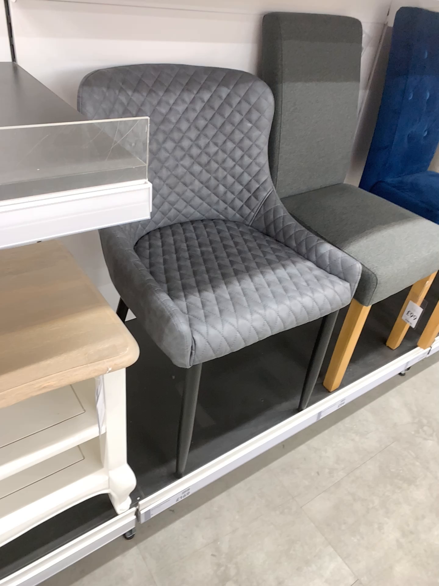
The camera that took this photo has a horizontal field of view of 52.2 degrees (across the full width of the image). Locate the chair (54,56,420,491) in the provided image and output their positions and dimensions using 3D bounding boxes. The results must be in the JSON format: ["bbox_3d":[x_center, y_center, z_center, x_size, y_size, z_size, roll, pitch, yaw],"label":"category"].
[{"bbox_3d":[-0.029,-0.077,1.089,0.482,0.792,0.543,-18,43,-31],"label":"chair"}]

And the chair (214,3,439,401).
[{"bbox_3d":[0.368,-0.263,1.320,0.432,0.911,0.563,-18,43,-32],"label":"chair"}]
